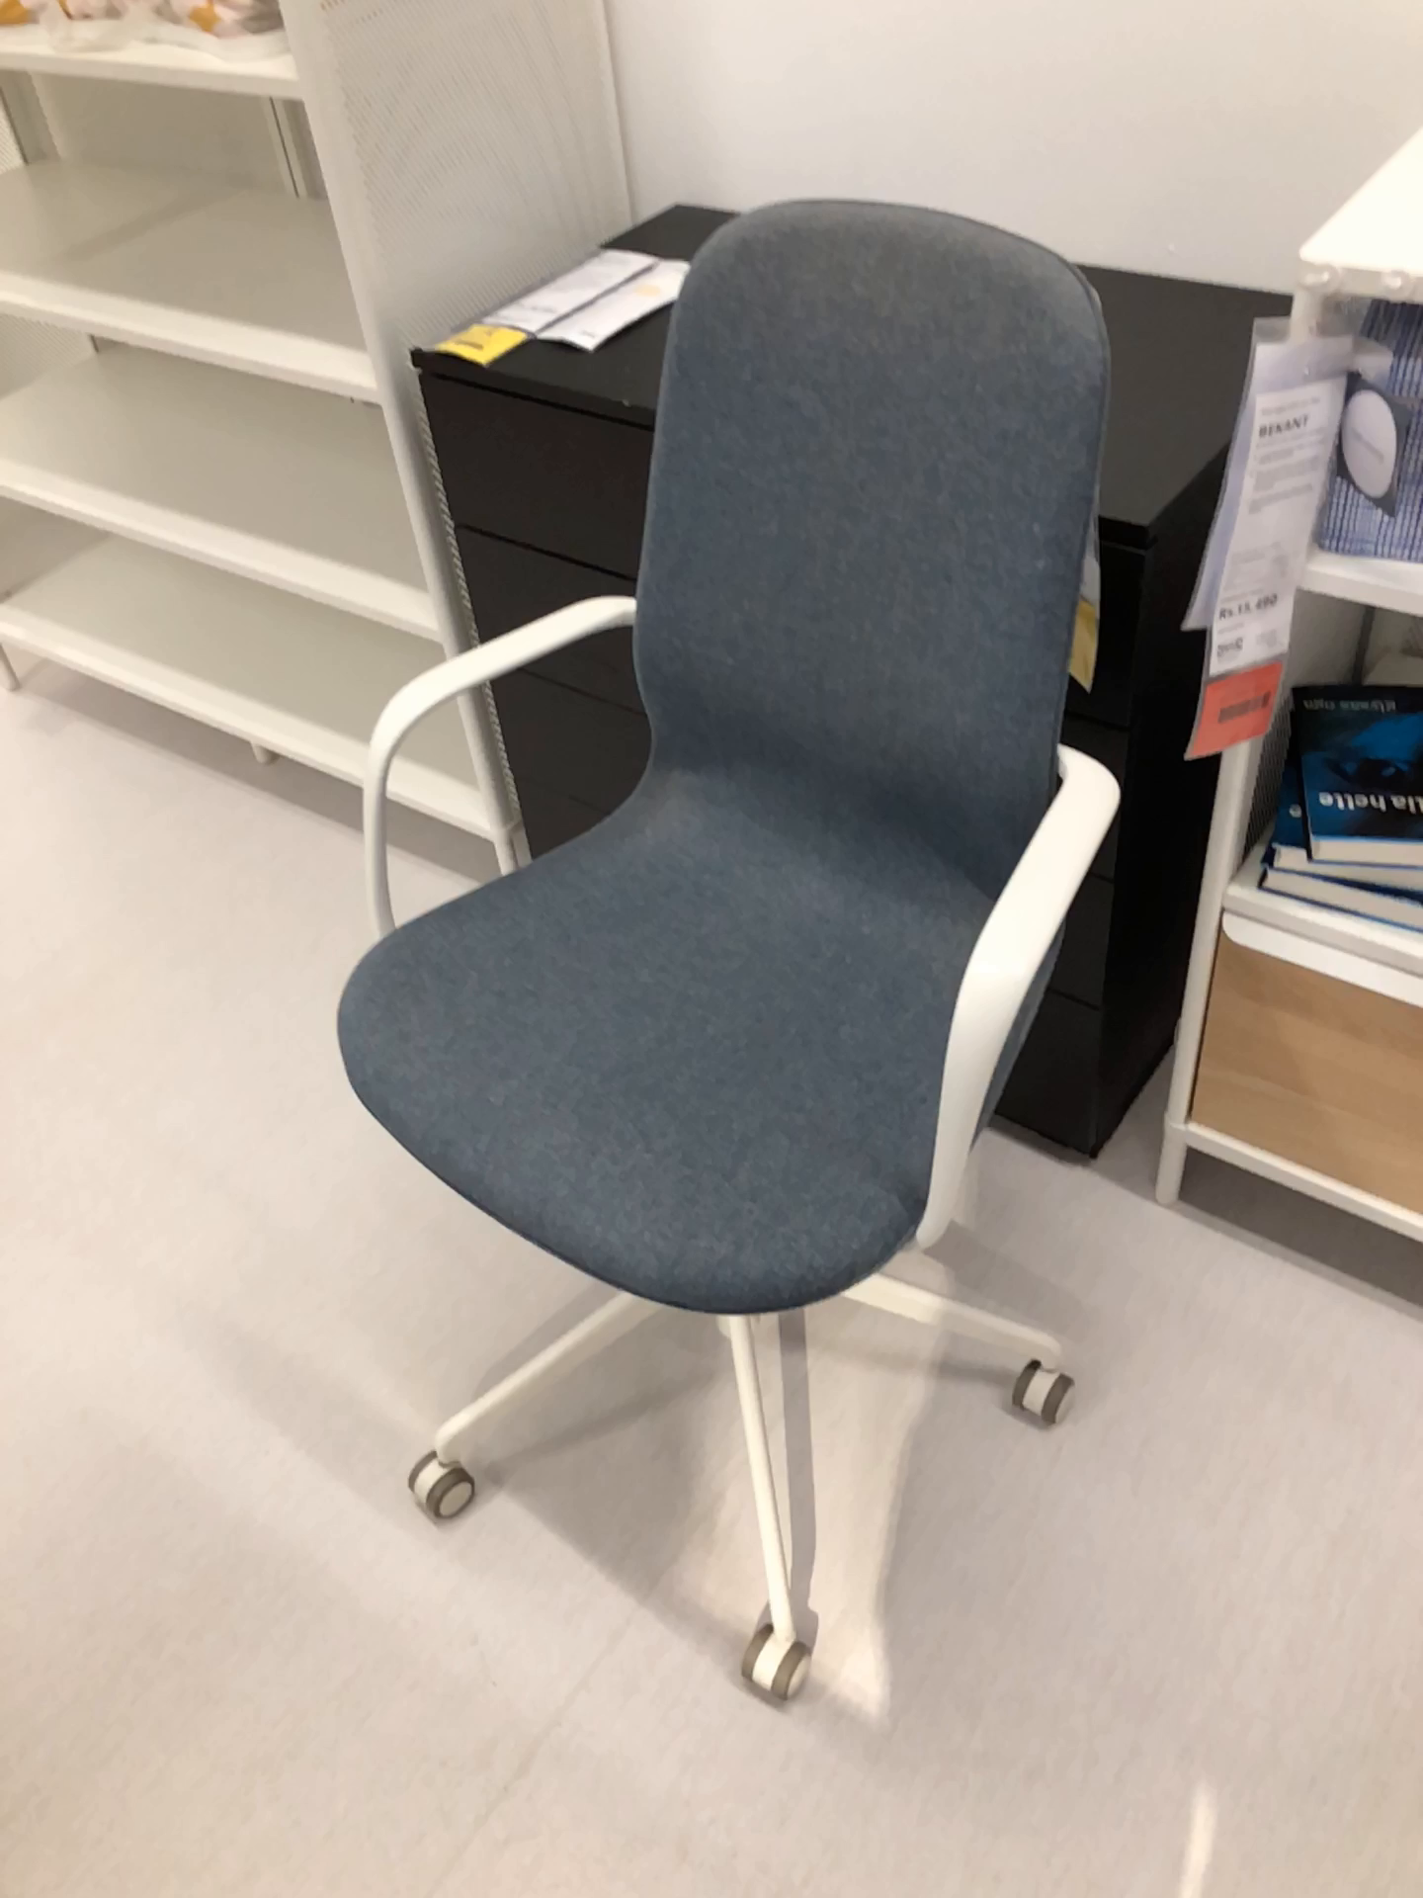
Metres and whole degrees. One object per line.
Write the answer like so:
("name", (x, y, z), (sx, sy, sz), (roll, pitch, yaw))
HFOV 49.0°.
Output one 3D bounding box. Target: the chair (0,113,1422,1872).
("chair", (-0.044, 0.034, 1.238), (0.701, 0.993, 0.704), (-24, 45, -17))
